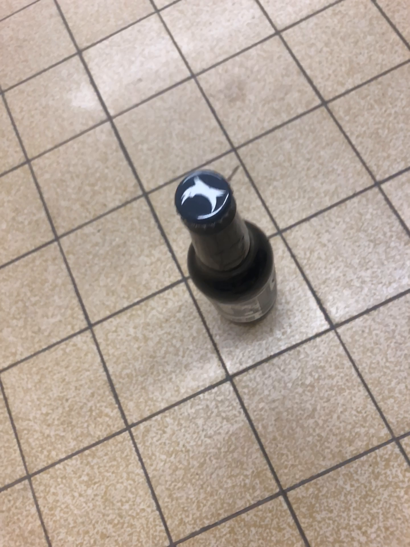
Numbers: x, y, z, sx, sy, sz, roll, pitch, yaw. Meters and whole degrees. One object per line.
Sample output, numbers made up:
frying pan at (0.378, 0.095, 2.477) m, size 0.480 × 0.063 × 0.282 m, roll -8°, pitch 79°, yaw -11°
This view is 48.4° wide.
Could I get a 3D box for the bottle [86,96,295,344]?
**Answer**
bottle at (0.011, -0.012, 0.318) m, size 0.070 × 0.223 × 0.070 m, roll -3°, pitch 75°, yaw 10°
